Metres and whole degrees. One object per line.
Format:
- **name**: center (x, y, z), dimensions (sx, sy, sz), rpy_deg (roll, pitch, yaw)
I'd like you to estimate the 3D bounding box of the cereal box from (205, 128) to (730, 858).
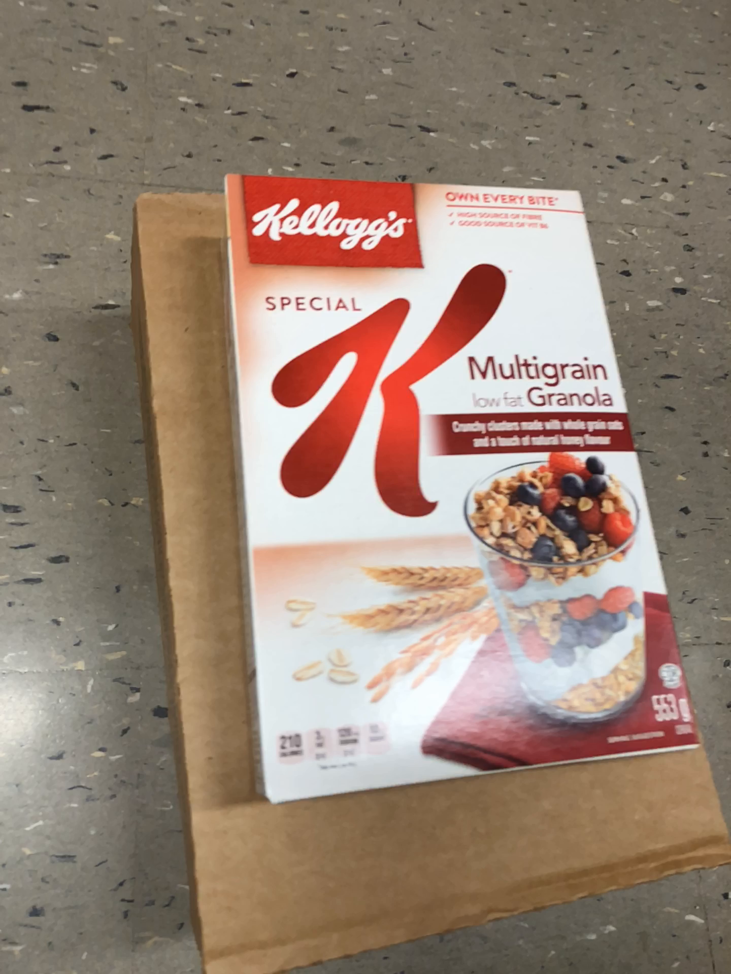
- **cereal box**: center (0.034, -0.009, 0.331), dimensions (0.180, 0.050, 0.270), rpy_deg (0, 69, -19)
